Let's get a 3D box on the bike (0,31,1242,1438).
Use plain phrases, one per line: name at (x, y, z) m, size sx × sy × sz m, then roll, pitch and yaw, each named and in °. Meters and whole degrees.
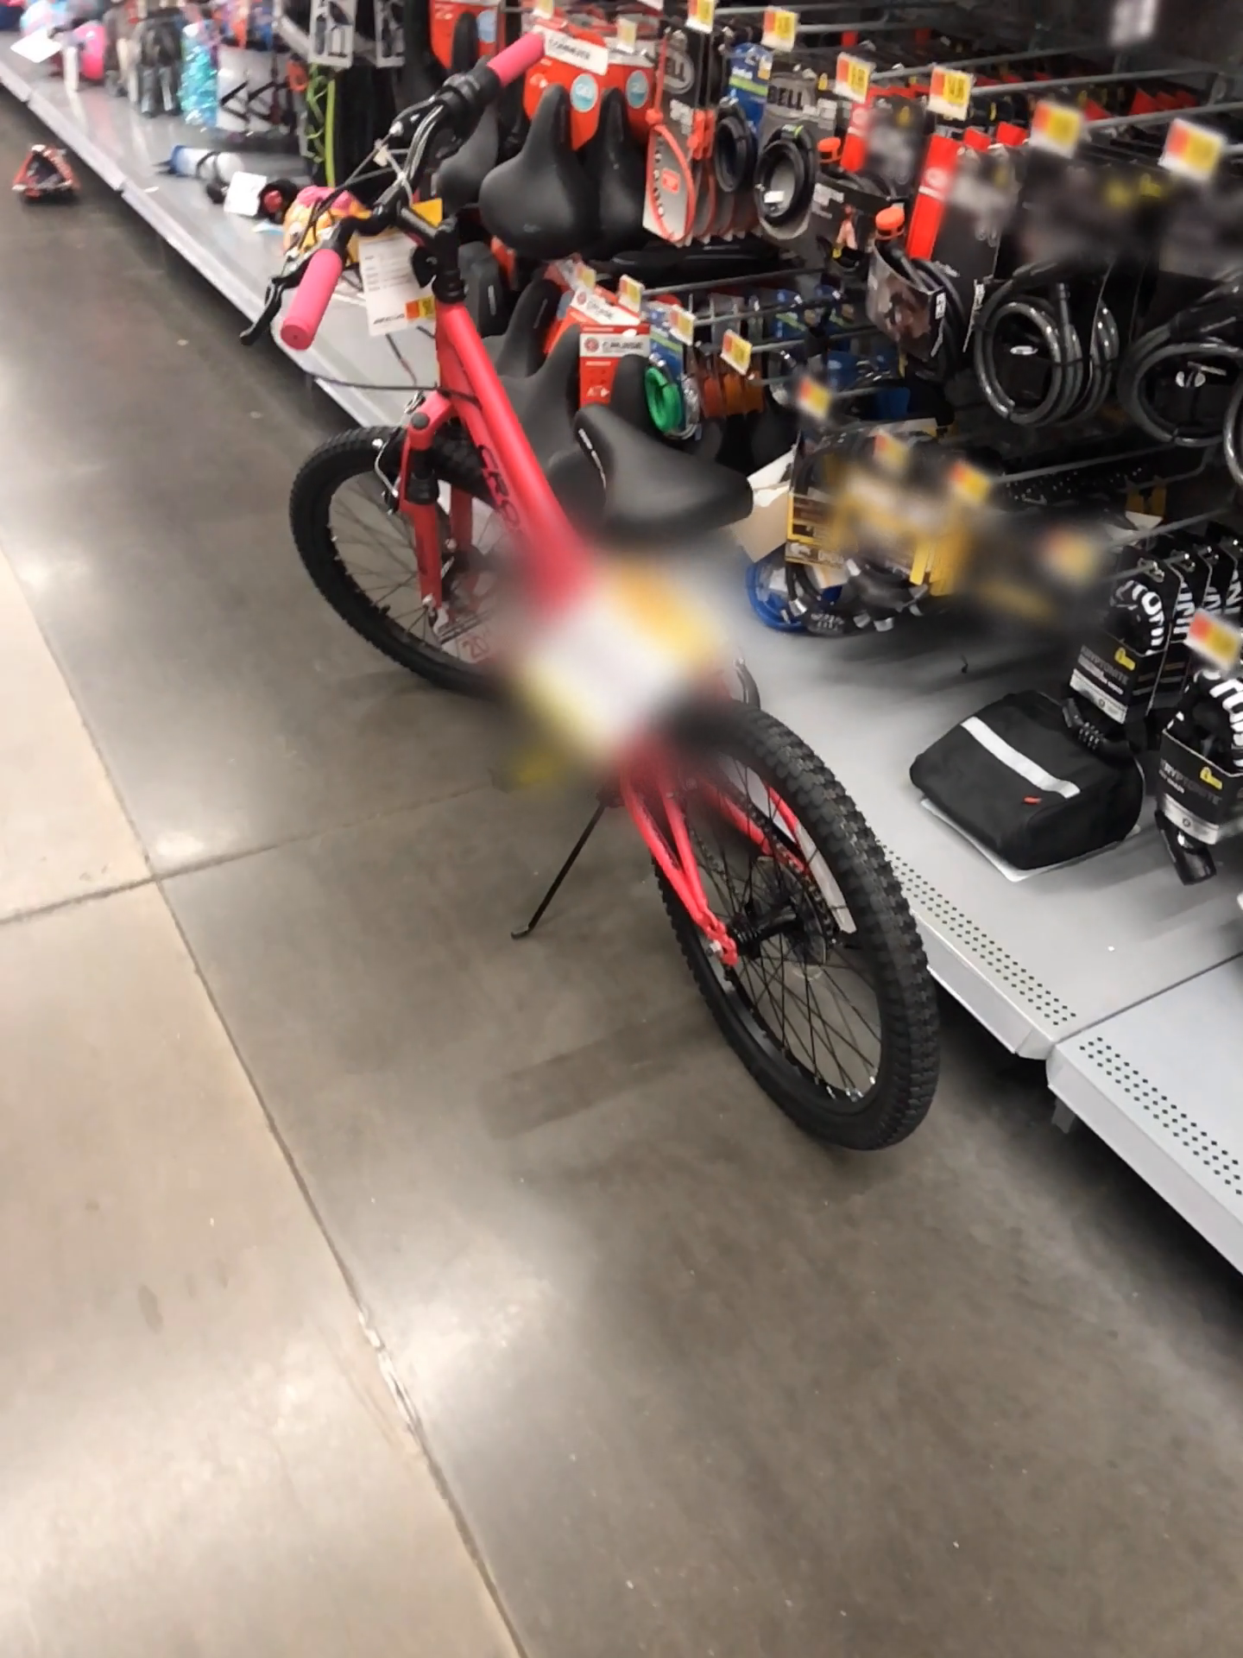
bike at (-0.168, -0.225, 1.409) m, size 0.608 × 0.877 × 1.229 m, roll -21°, pitch 44°, yaw -28°
